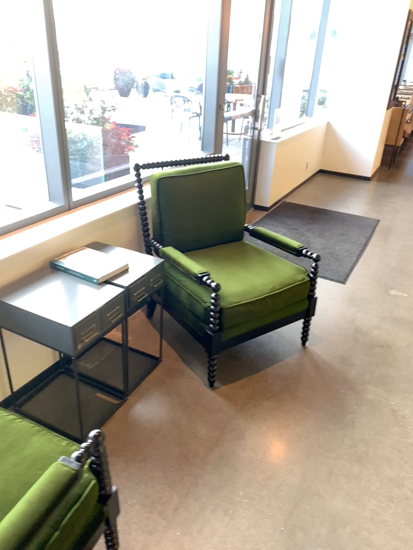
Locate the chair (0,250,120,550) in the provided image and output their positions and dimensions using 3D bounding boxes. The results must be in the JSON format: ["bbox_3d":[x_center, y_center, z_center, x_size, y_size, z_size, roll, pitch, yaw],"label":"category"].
[{"bbox_3d":[-0.784,0.631,0.966,0.731,0.974,0.924,13,29,19],"label":"chair"}]

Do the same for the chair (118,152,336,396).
[{"bbox_3d":[0.049,-0.092,2.467,0.761,0.984,0.925,-15,32,-31],"label":"chair"}]
